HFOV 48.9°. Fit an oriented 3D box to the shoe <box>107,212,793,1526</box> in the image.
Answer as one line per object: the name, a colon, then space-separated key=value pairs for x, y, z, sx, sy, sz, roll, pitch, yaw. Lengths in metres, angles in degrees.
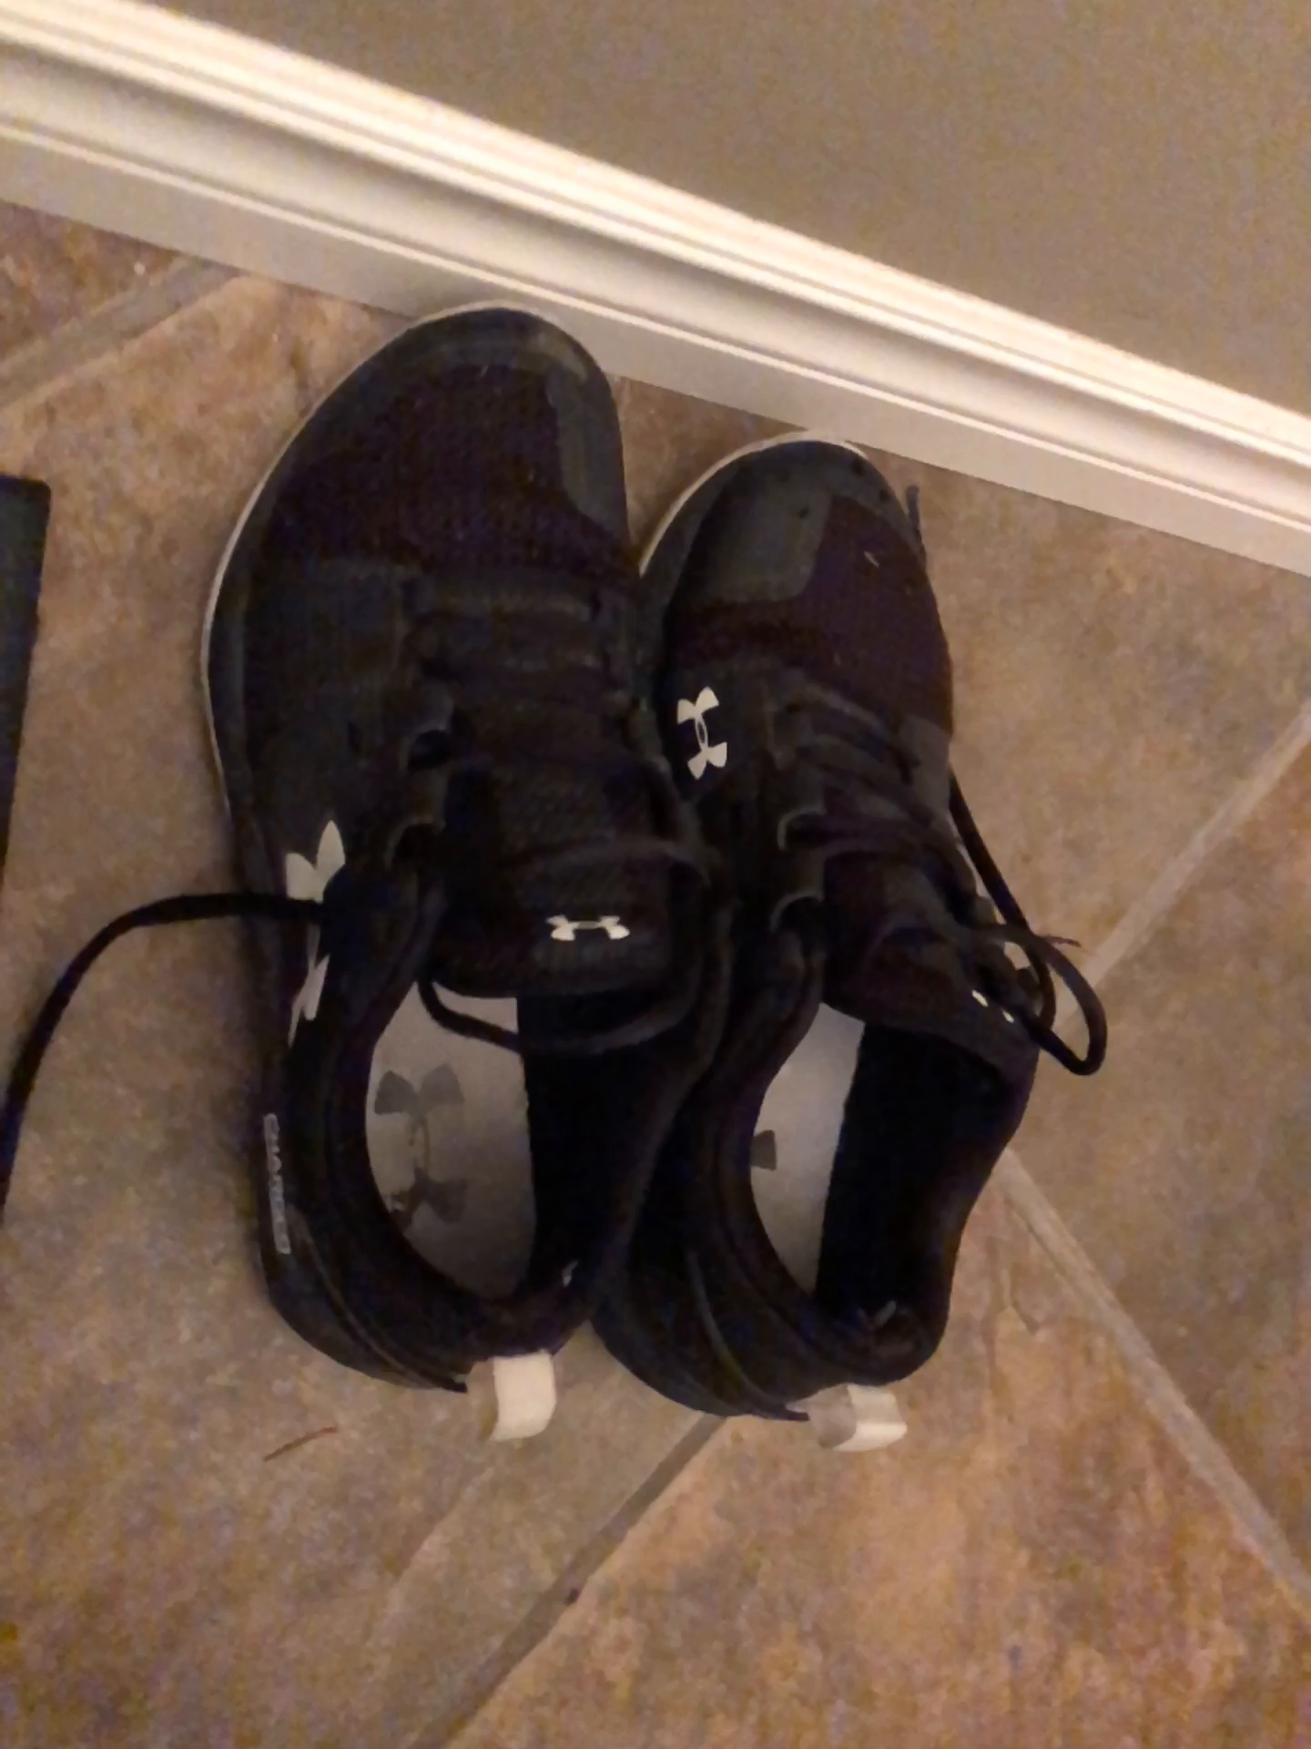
shoe: x=-0.050 y=0.002 z=0.340 sx=0.110 sy=0.100 sz=0.250 roll=8 pitch=83 yaw=-26

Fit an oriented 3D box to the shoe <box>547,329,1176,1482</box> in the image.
shoe: x=0.053 y=0.011 z=0.380 sx=0.110 sy=0.100 sz=0.250 roll=8 pitch=83 yaw=-26
